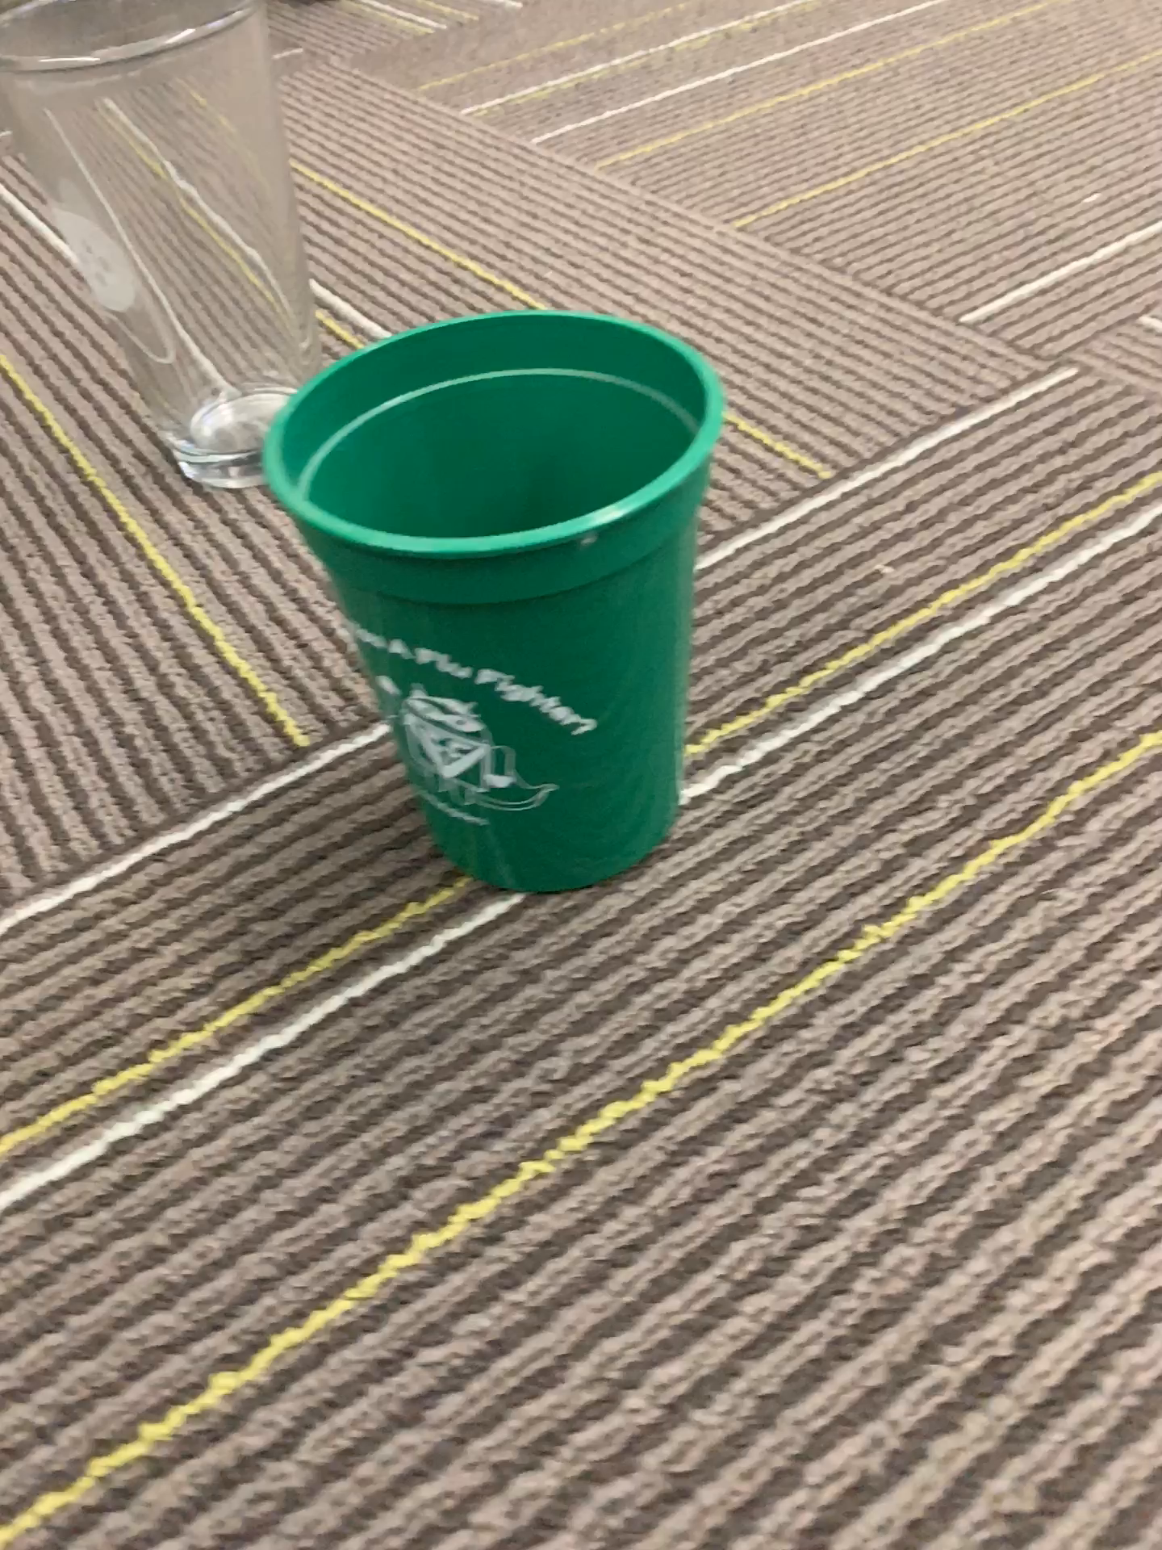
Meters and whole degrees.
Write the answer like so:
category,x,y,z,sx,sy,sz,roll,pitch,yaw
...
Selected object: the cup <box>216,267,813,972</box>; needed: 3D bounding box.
category,x,y,z,sx,sy,sz,roll,pitch,yaw
cup,-0.007,-0.037,0.281,0.090,0.119,0.080,23,53,28
